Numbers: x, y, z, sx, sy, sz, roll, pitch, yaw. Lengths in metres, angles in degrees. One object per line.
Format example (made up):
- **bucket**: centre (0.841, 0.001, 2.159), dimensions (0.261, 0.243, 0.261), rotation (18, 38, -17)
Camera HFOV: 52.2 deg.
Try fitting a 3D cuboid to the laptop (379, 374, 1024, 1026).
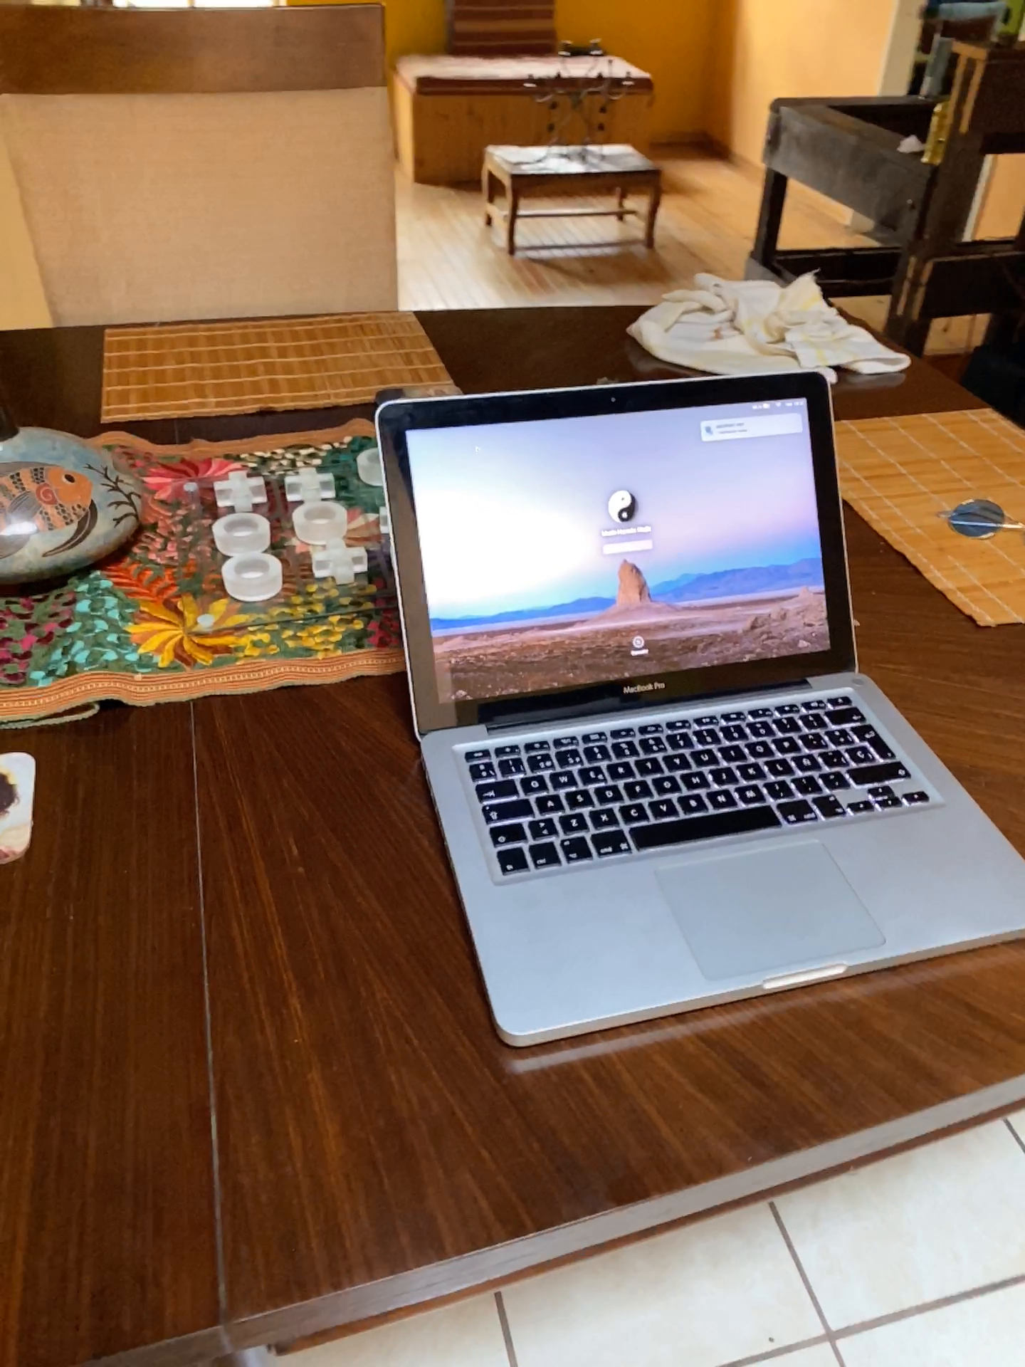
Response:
- **laptop**: centre (0.109, -0.027, 0.645), dimensions (0.325, 0.170, 0.359), rotation (-8, 39, -13)
